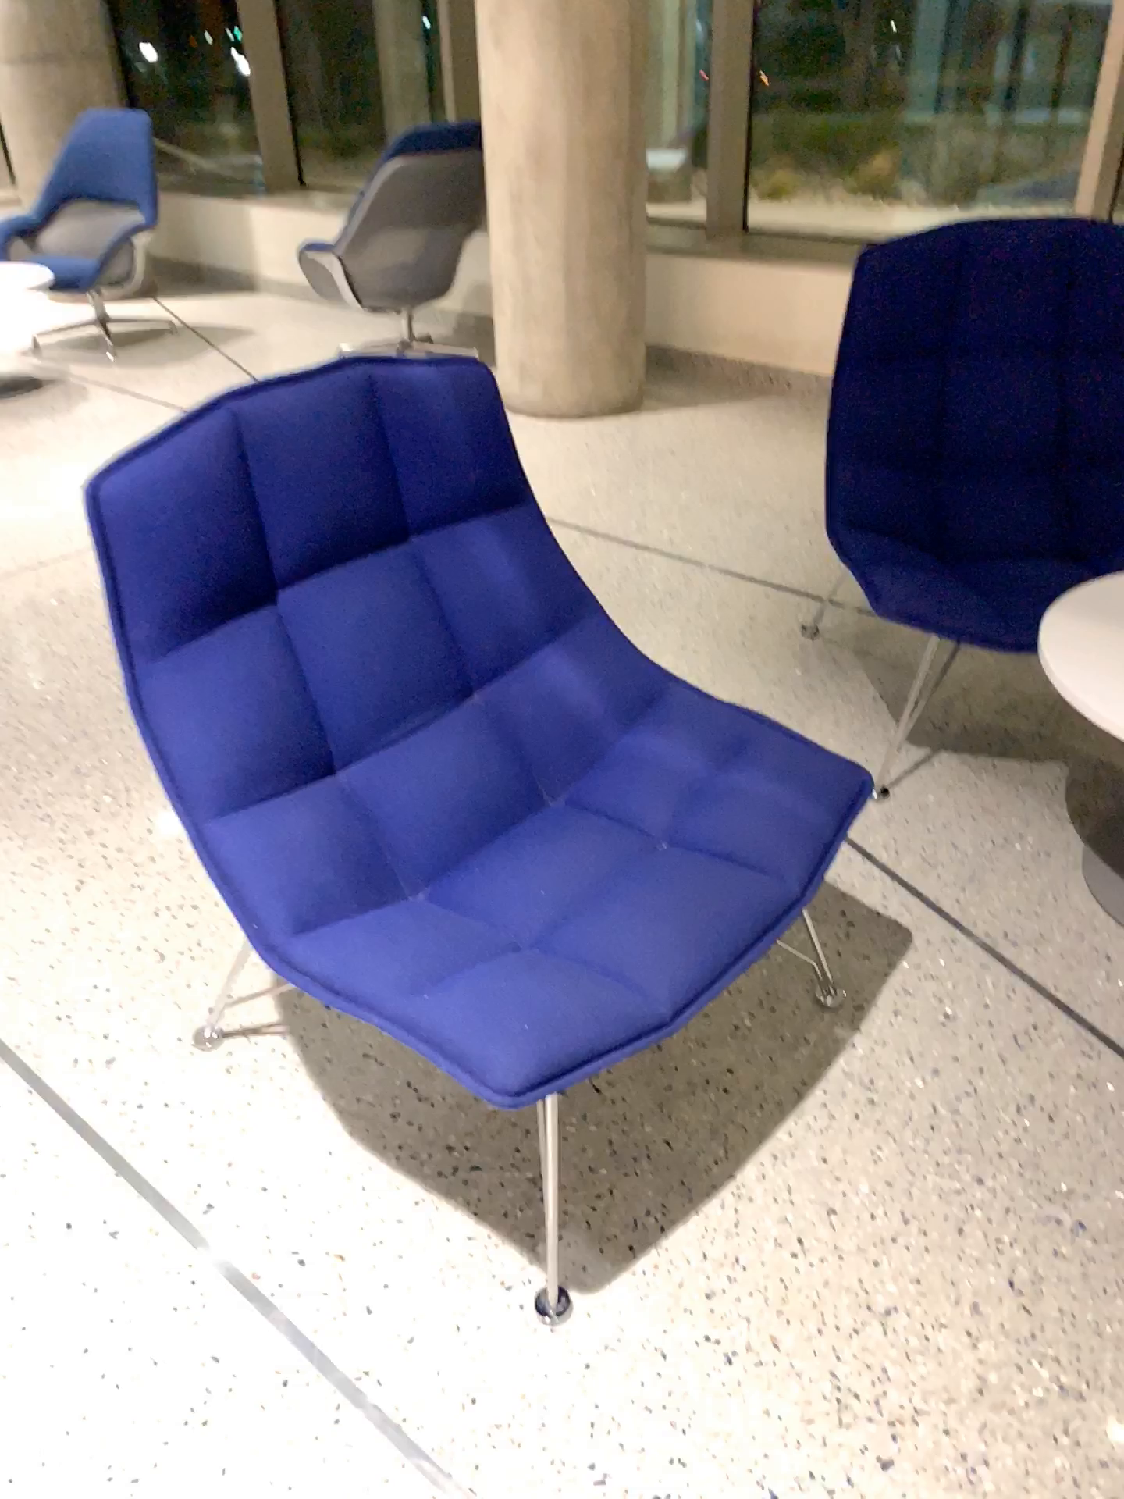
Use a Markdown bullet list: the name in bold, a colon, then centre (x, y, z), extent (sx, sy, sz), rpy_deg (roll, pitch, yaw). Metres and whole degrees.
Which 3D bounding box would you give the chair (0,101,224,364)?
- **chair**: centre (-2.207, -2.406, 5.296), extent (0.781, 0.971, 0.765), rpy_deg (14, 36, 23)

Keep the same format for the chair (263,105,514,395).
- **chair**: centre (-0.713, -2.134, 4.858), extent (0.643, 0.961, 0.774), rpy_deg (-27, 41, -34)

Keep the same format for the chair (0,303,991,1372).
- **chair**: centre (-0.051, 0.013, 1.538), extent (0.783, 0.932, 0.812), rpy_deg (24, 40, 34)
